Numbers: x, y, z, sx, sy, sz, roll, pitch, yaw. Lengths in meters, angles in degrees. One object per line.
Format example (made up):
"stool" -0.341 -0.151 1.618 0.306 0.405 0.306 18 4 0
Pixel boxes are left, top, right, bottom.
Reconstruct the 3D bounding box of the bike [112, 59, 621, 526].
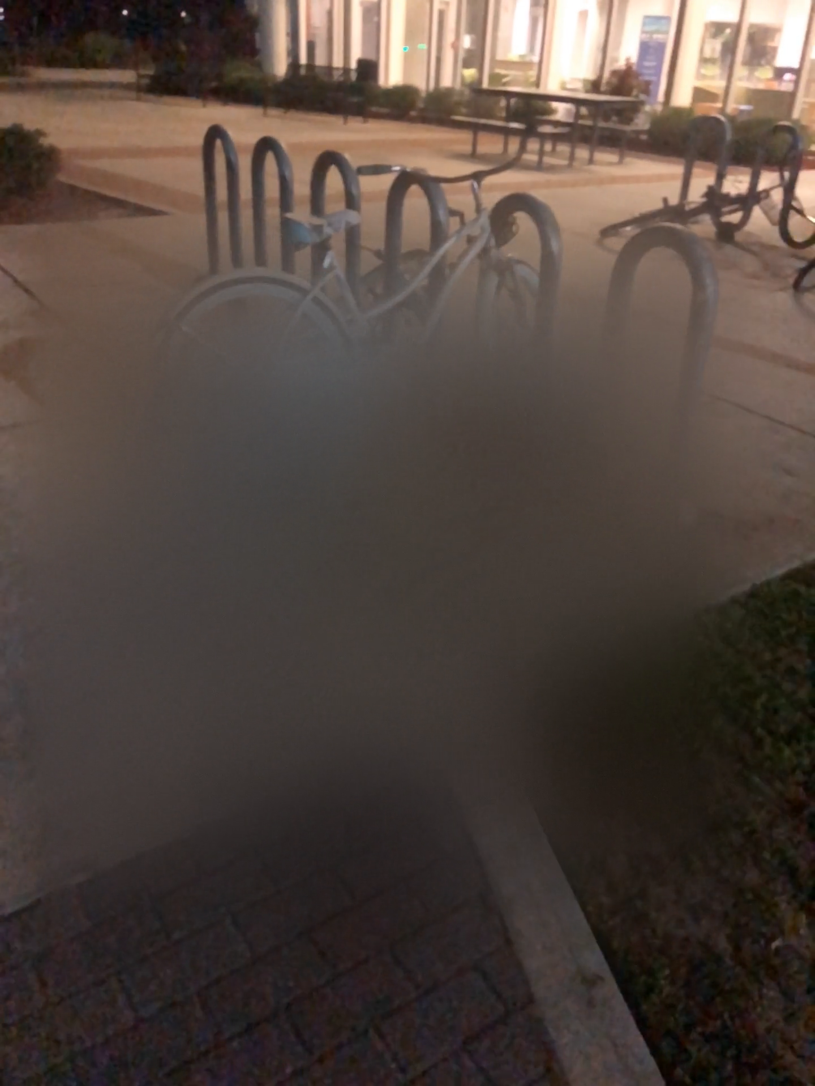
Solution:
"bike" -0.119 -1.004 3.156 1.683 1.094 0.742 -21 36 -30
